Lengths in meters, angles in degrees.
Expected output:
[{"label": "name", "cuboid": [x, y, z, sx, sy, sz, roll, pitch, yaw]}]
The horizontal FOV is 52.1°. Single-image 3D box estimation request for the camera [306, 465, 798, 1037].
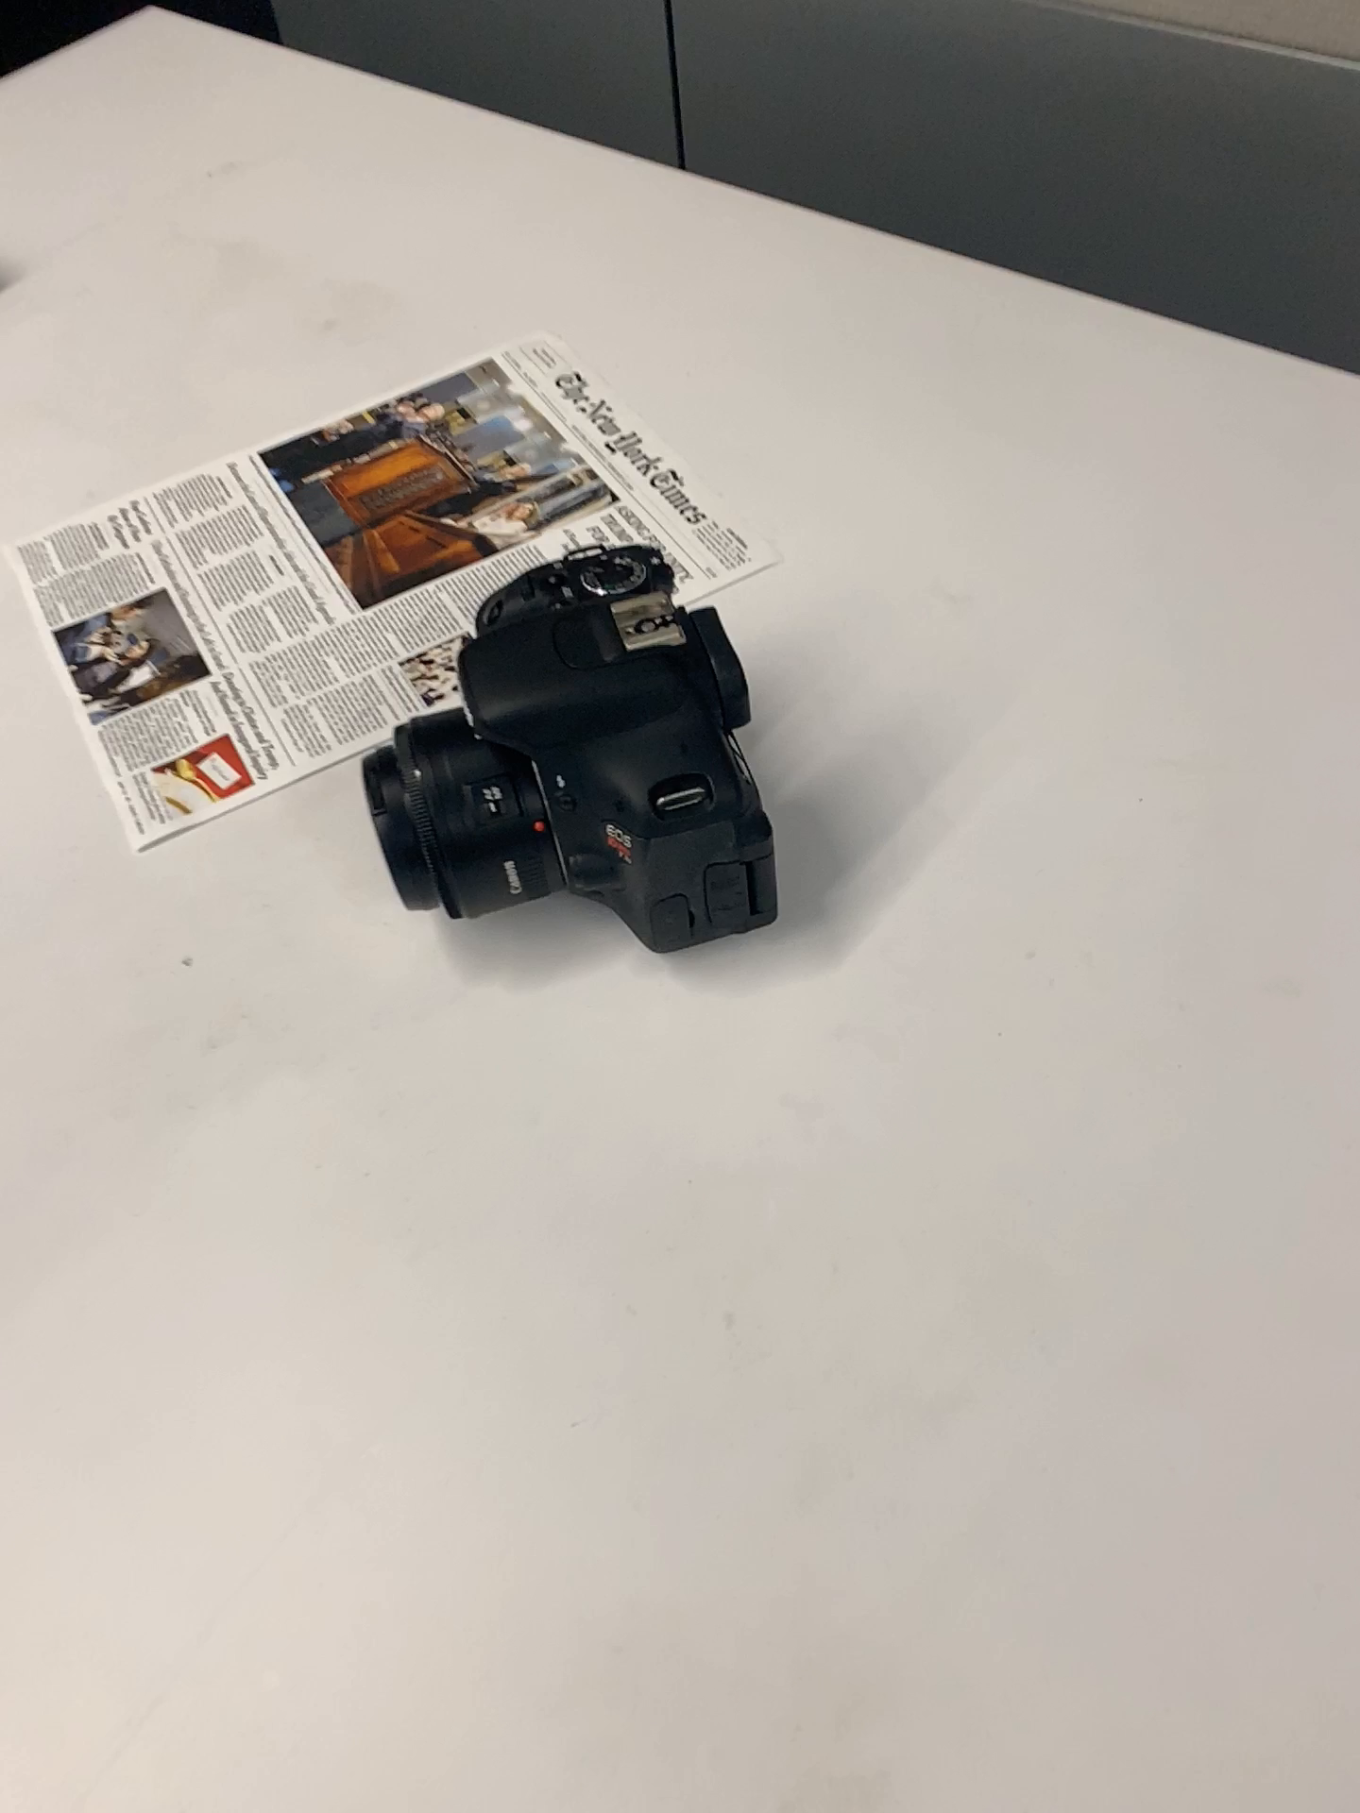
[{"label": "camera", "cuboid": [-0.042, -0.053, 0.456, 0.119, 0.090, 0.137, -17, 53, -6]}]
